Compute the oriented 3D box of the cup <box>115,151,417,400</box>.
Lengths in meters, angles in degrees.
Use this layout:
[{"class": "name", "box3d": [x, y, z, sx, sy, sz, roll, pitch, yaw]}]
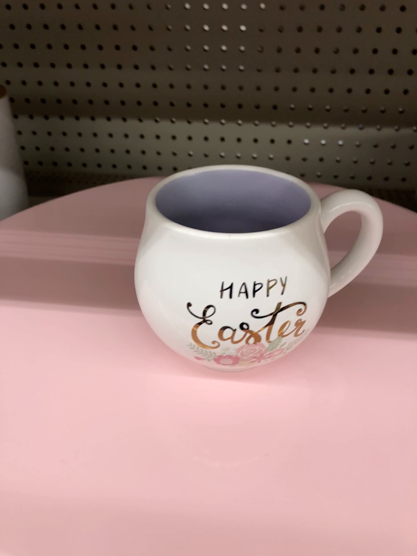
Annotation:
[{"class": "cup", "box3d": [0.024, -0.008, 0.247, 0.130, 0.080, 0.090, -8, 34, -11]}]
